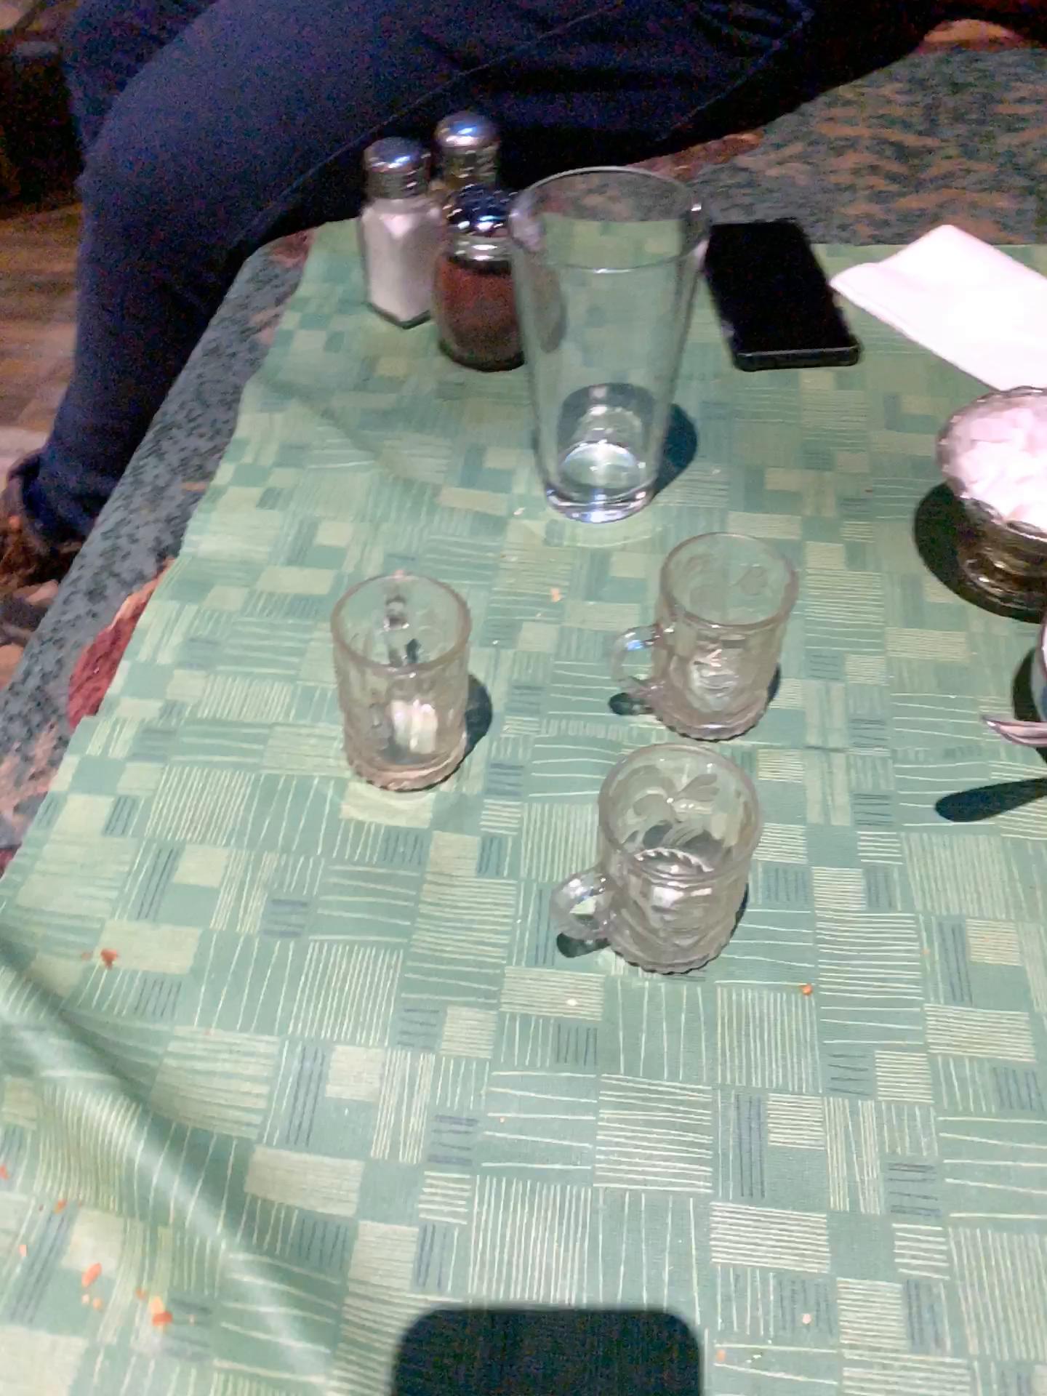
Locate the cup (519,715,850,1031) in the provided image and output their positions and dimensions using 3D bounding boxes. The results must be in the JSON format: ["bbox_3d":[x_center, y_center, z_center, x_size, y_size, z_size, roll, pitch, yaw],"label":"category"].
[{"bbox_3d":[0.051,0.061,0.373,0.090,0.070,0.060,-15,52,-9],"label":"cup"}]

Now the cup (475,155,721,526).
[{"bbox_3d":[0.032,-0.171,0.521,0.100,0.129,0.111,-1,52,2],"label":"cup"}]

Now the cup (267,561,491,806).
[{"bbox_3d":[-0.051,-0.006,0.413,0.070,0.050,0.080,1,52,3],"label":"cup"}]

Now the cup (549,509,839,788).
[{"bbox_3d":[0.064,-0.020,0.425,0.090,0.060,0.060,-21,54,-14],"label":"cup"}]
